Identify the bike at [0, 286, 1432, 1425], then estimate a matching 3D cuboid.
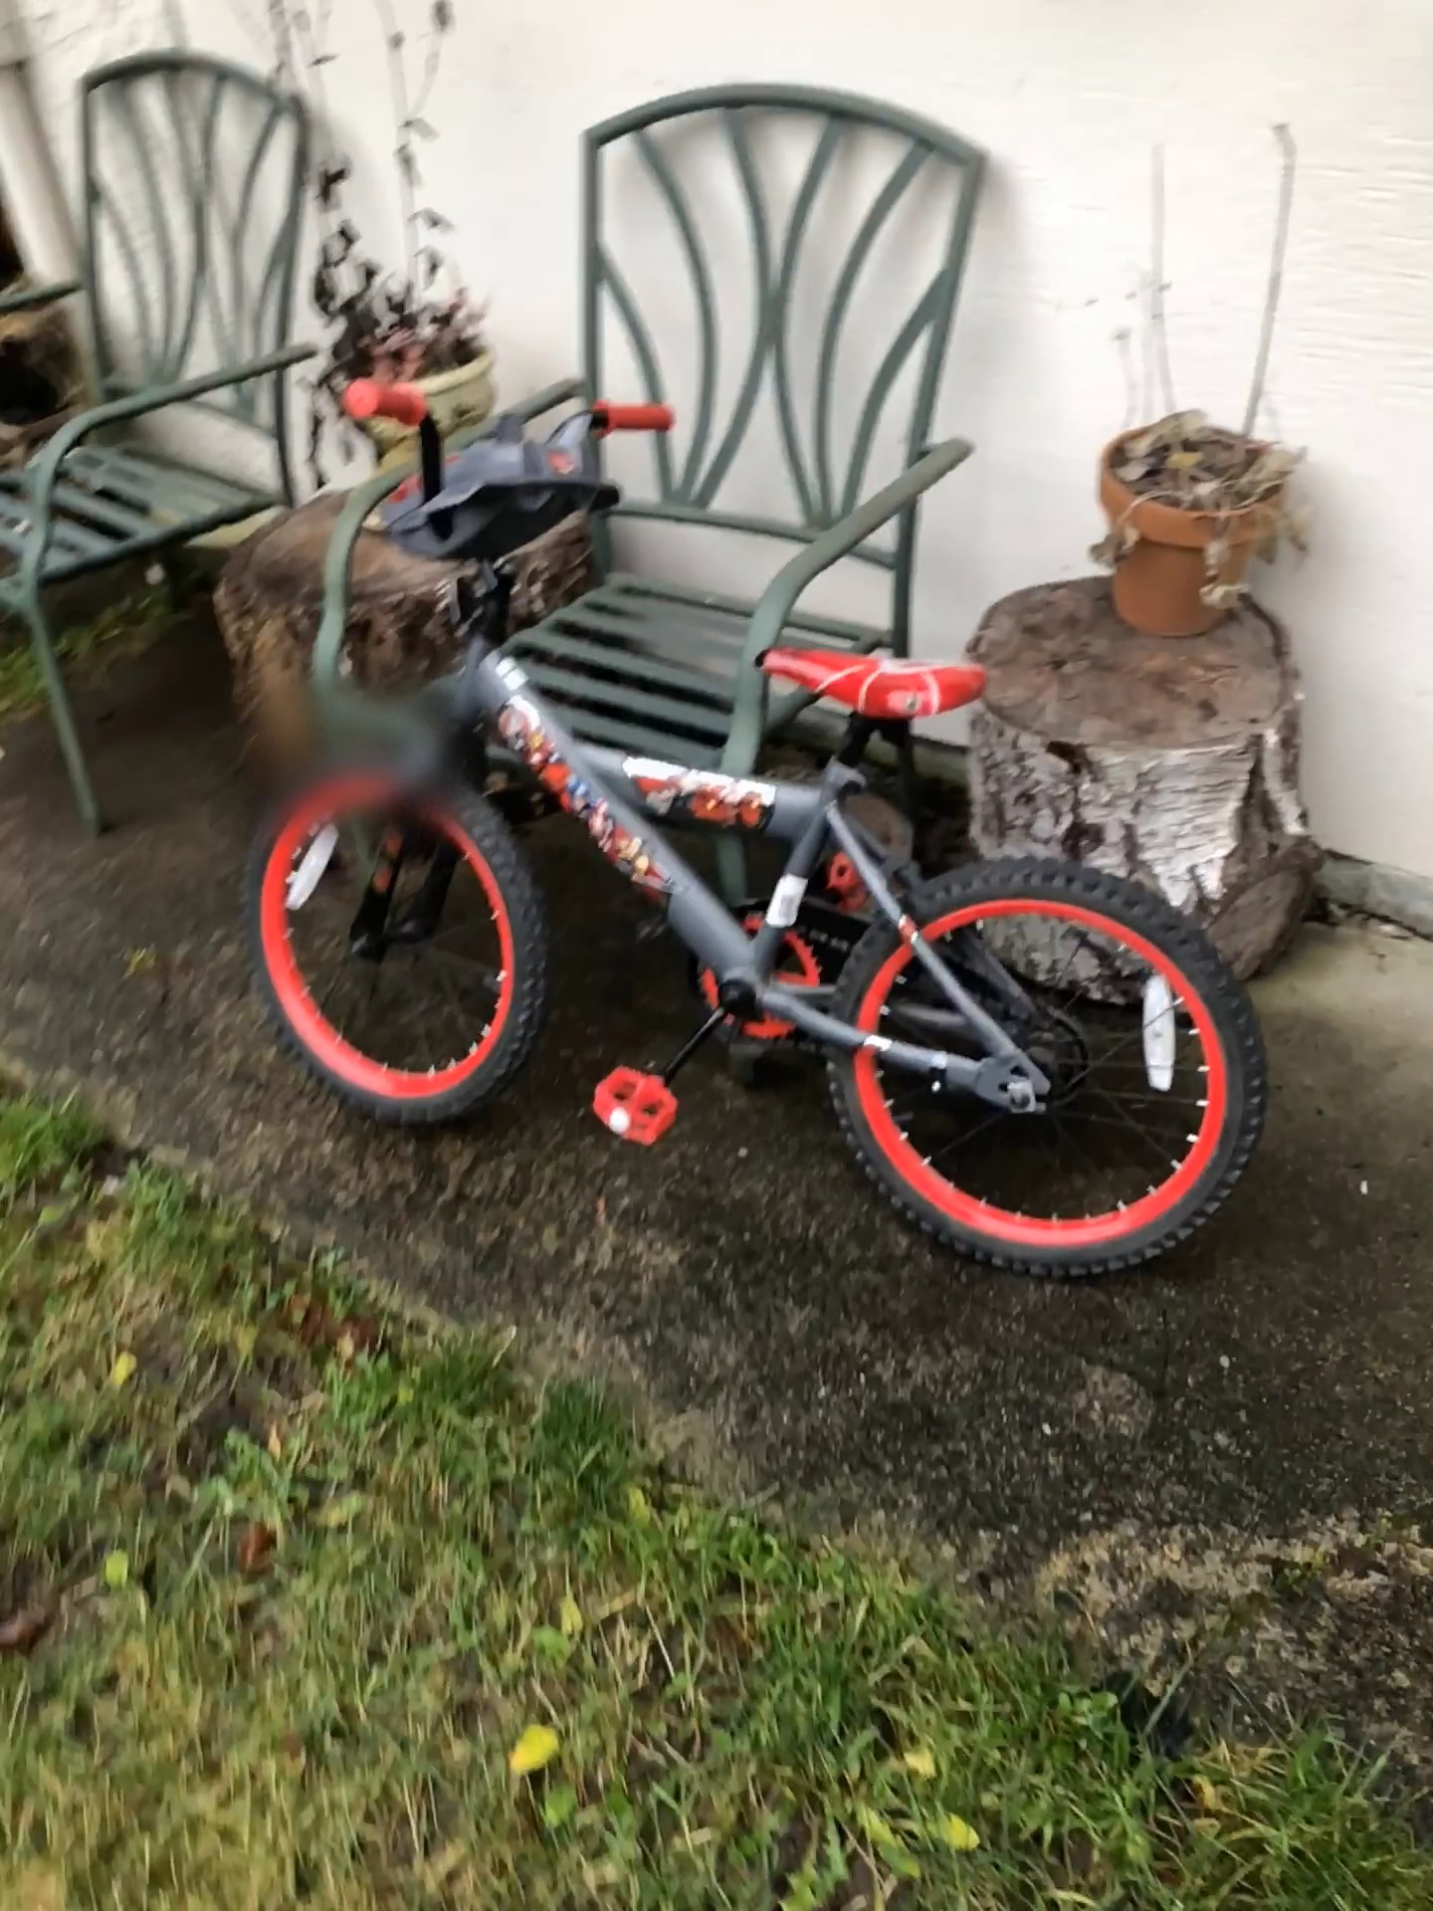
[{"bbox_3d":[0.005,-0.168,1.663,1.201,0.853,0.603,12,42,22],"label":"bike"}]
